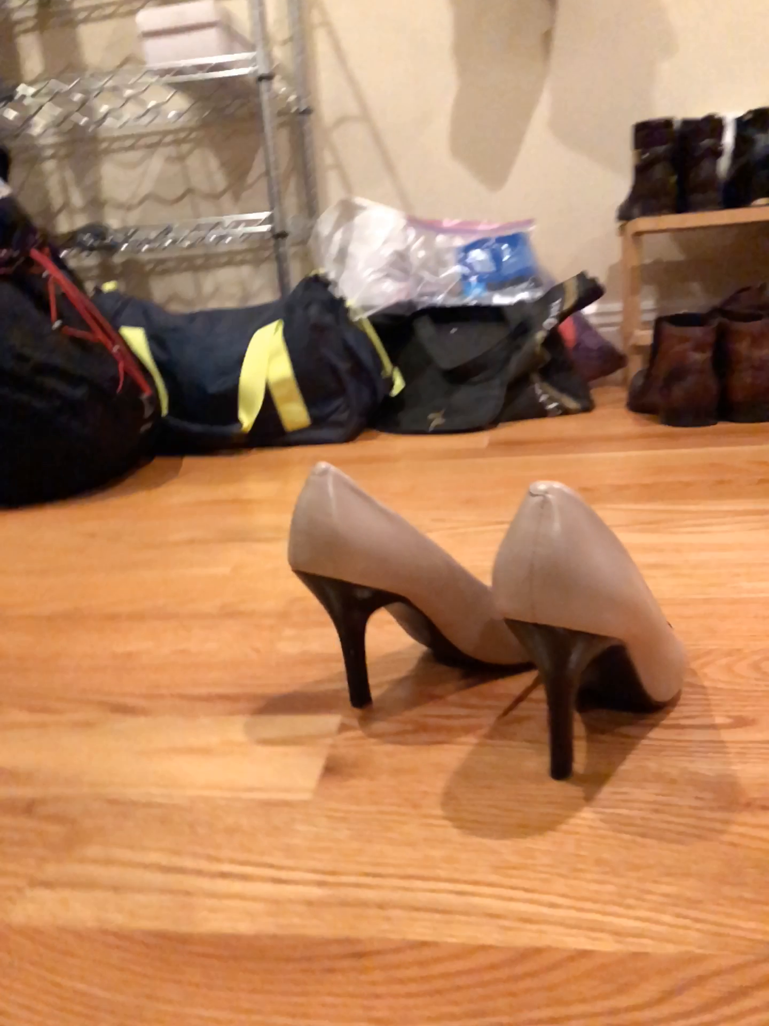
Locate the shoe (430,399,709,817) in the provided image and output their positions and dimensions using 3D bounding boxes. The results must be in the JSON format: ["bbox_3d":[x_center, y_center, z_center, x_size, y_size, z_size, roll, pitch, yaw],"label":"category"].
[{"bbox_3d":[0.114,0.026,0.452,0.085,0.139,0.236,3,17,27],"label":"shoe"}]

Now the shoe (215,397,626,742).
[{"bbox_3d":[0.033,0.017,0.507,0.235,0.139,0.085,-14,17,-32],"label":"shoe"}]
